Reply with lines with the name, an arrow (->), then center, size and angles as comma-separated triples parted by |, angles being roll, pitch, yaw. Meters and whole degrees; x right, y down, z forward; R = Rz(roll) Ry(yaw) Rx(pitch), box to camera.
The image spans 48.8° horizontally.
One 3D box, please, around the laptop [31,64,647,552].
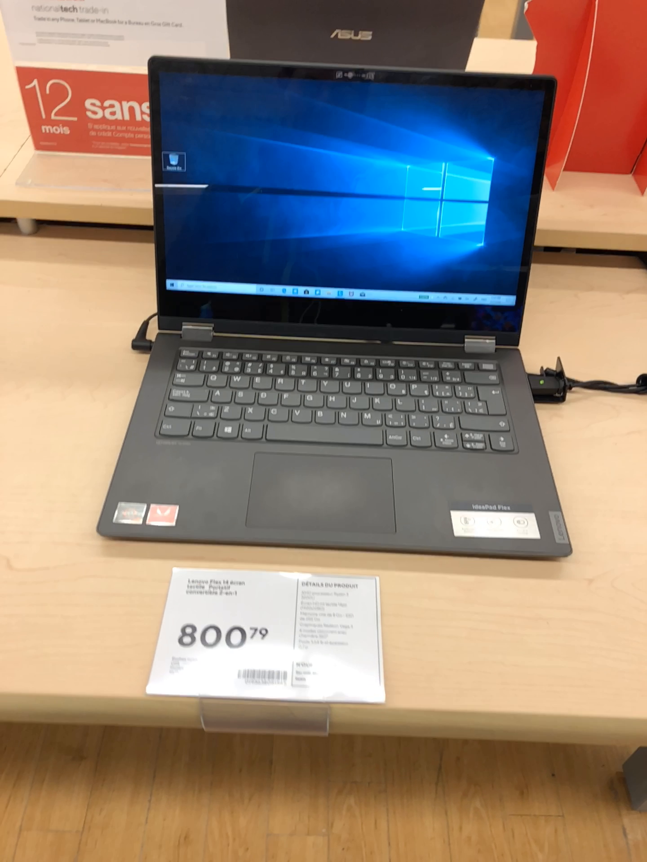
laptop -> 0.018, -0.102, 0.523 | 0.319, 0.199, 0.307 | 3, 46, -1
